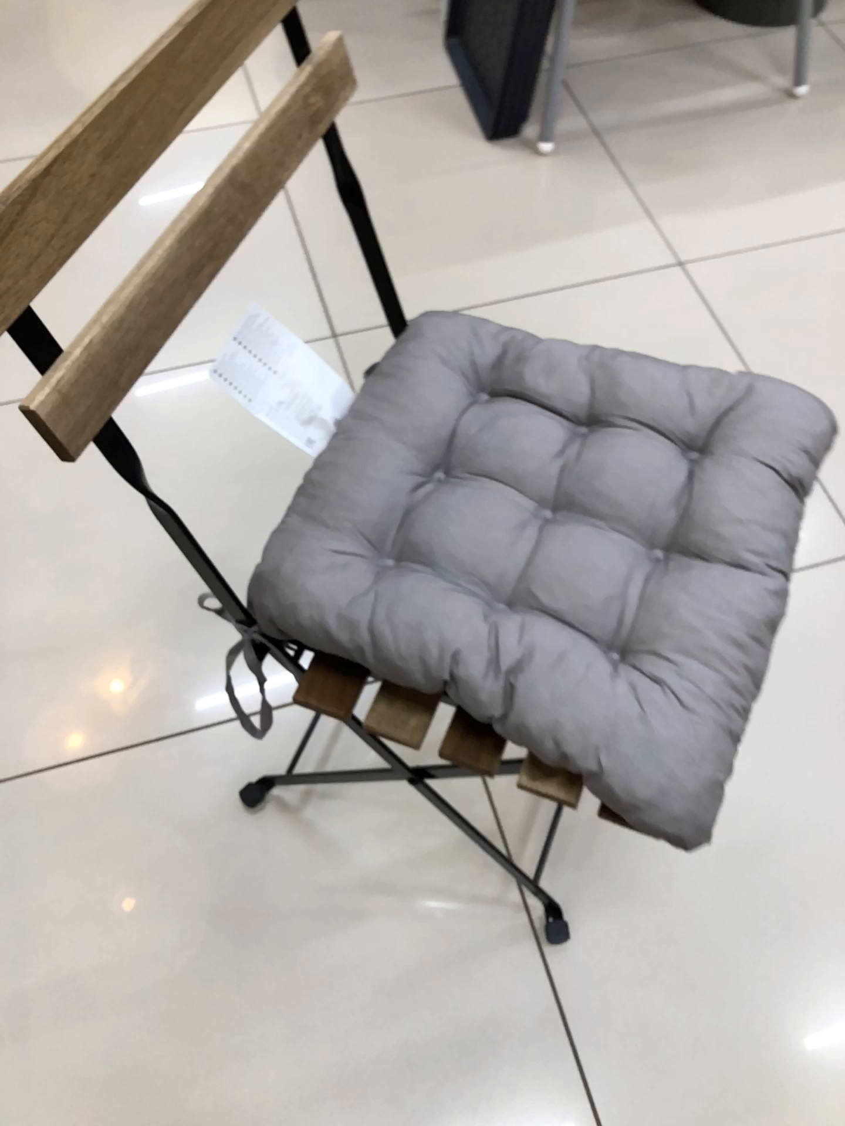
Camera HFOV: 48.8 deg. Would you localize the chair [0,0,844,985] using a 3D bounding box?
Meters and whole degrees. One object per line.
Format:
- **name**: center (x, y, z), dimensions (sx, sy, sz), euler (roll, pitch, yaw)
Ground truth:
- **chair**: center (0.070, -0.015, 0.765), dimensions (0.440, 0.766, 0.442), euler (18, 60, 11)
